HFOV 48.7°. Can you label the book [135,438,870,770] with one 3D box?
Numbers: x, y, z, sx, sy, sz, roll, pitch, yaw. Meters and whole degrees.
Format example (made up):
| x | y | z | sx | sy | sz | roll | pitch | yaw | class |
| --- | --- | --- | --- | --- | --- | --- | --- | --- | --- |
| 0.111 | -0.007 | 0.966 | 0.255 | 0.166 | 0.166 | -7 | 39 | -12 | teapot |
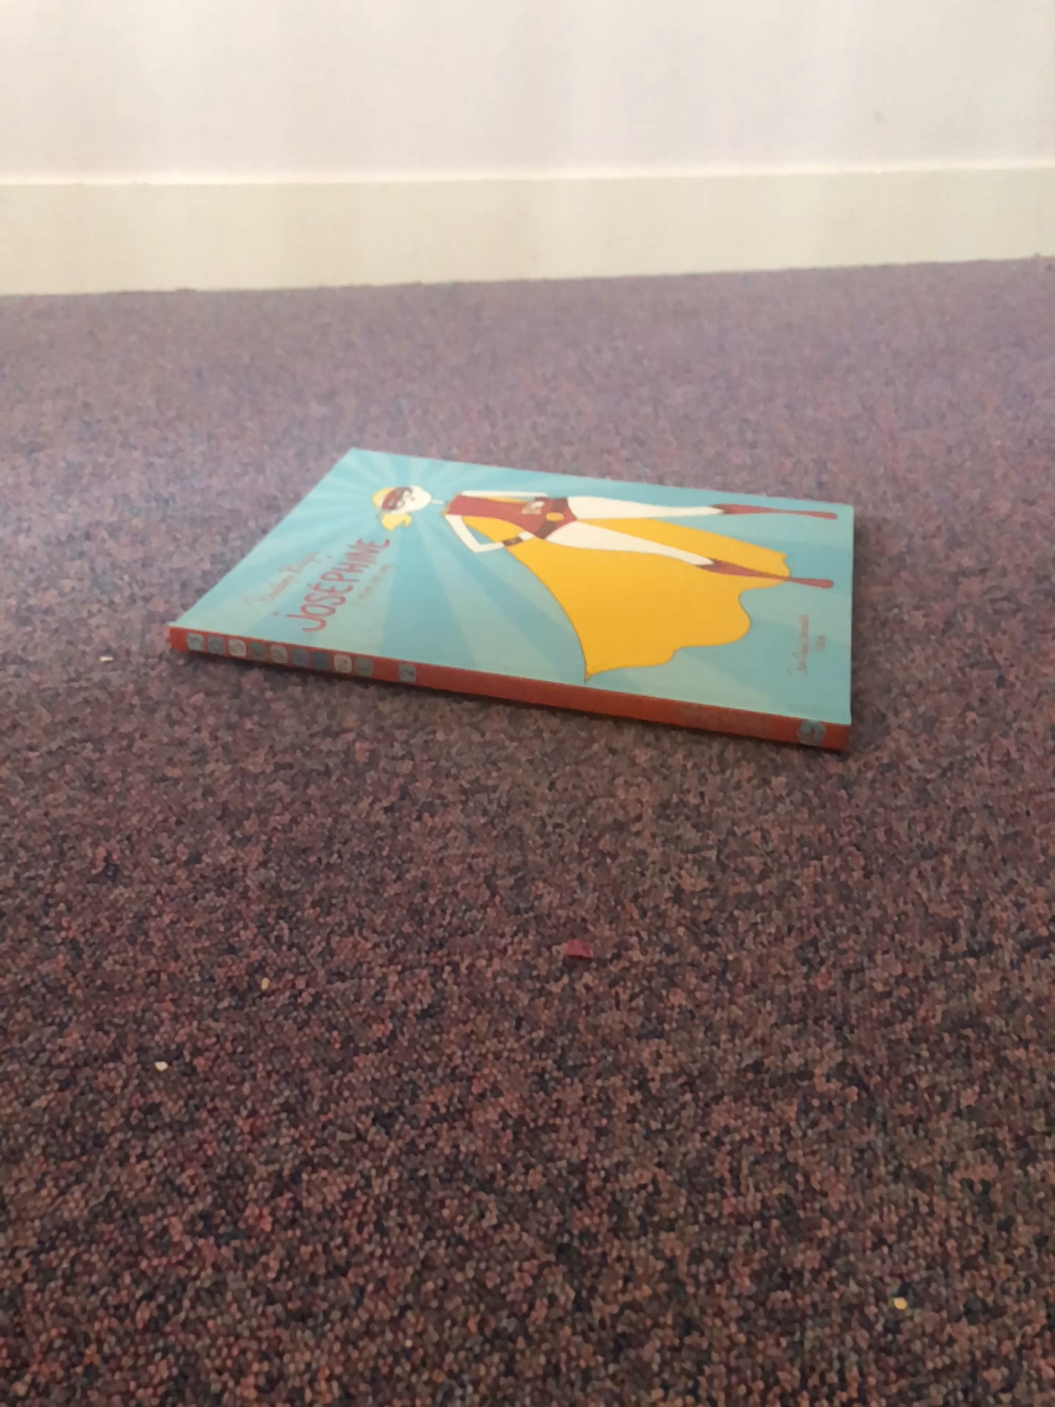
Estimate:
| x | y | z | sx | sy | sz | roll | pitch | yaw | class |
| --- | --- | --- | --- | --- | --- | --- | --- | --- | --- |
| 0.008 | -0.066 | 0.572 | 0.306 | 0.020 | 0.235 | 8 | 33 | 11 | book |
